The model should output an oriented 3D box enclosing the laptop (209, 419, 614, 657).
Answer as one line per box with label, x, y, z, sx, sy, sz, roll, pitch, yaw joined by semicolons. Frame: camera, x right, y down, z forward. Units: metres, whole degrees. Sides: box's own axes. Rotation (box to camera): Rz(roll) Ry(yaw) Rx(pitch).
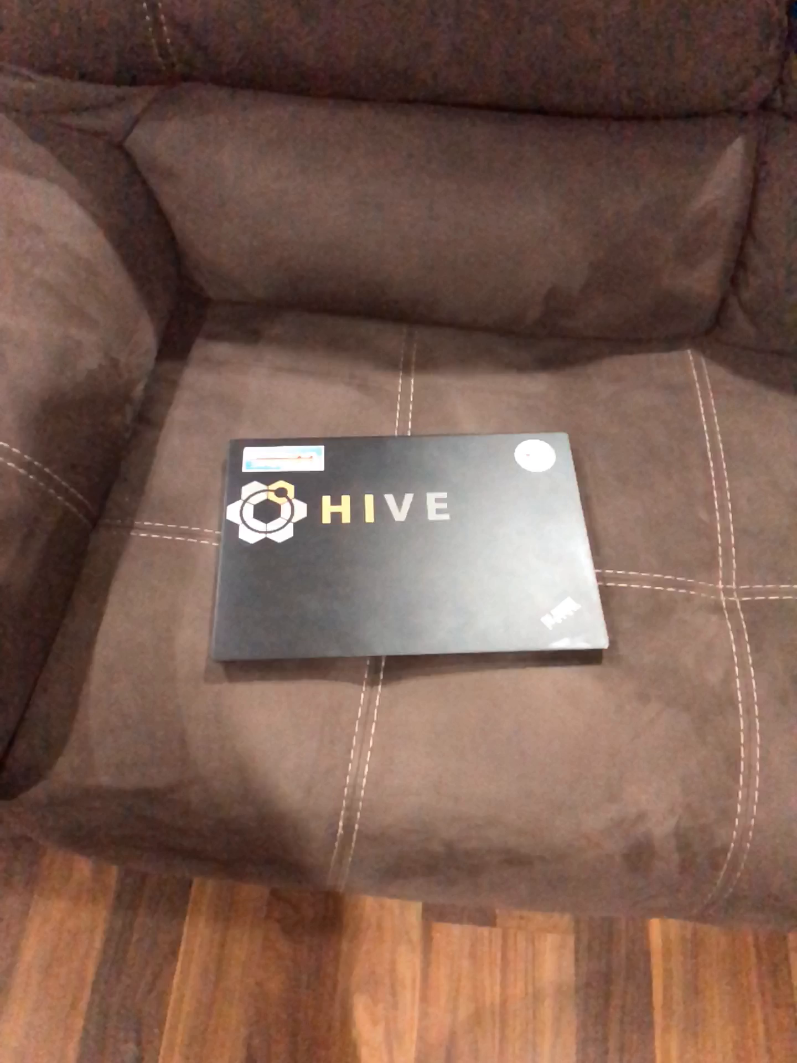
laptop;0.006;-0.002;0.783;0.328;0.019;0.236;-2;56;-1
